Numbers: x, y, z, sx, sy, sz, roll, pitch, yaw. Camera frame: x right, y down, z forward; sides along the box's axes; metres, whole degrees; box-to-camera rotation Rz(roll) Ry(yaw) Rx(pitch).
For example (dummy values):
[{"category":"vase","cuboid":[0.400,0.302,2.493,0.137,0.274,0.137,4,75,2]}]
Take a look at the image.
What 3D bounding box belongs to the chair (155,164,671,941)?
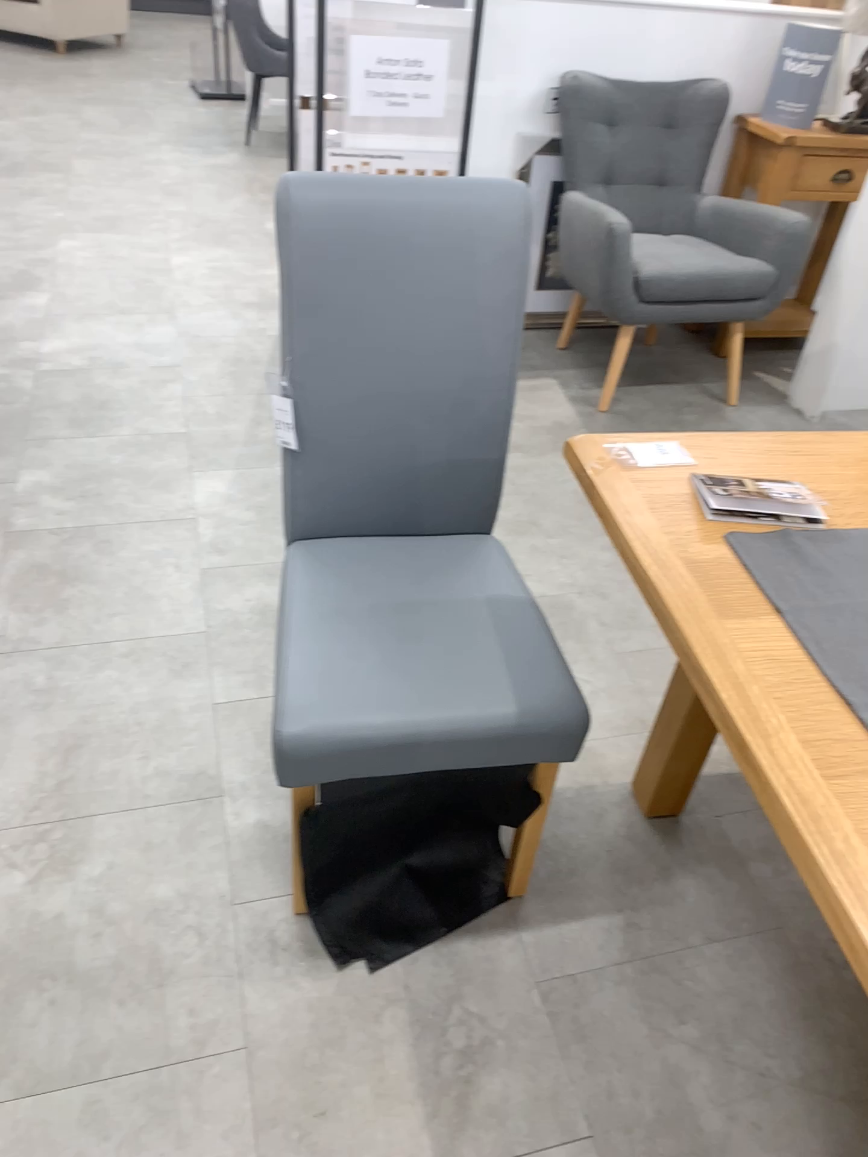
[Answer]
[{"category":"chair","cuboid":[-0.104,-0.037,1.330,0.472,0.906,0.660,-2,38,-11]}]
